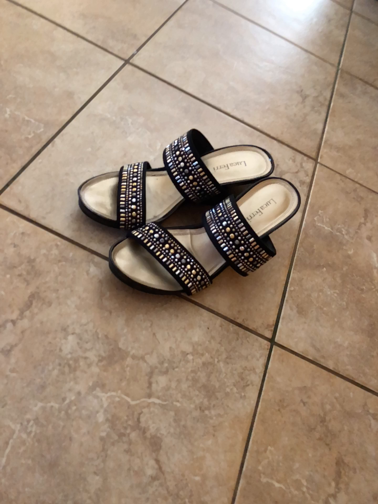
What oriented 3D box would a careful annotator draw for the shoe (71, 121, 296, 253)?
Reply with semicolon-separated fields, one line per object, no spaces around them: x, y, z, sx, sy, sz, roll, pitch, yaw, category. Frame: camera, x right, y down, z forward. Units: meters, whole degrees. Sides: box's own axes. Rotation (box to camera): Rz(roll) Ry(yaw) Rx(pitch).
-0.011;-0.074;0.470;0.220;0.100;0.090;-6;59;-24;shoe

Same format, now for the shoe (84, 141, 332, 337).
0.020;-0.022;0.439;0.221;0.100;0.110;-22;67;-32;shoe
